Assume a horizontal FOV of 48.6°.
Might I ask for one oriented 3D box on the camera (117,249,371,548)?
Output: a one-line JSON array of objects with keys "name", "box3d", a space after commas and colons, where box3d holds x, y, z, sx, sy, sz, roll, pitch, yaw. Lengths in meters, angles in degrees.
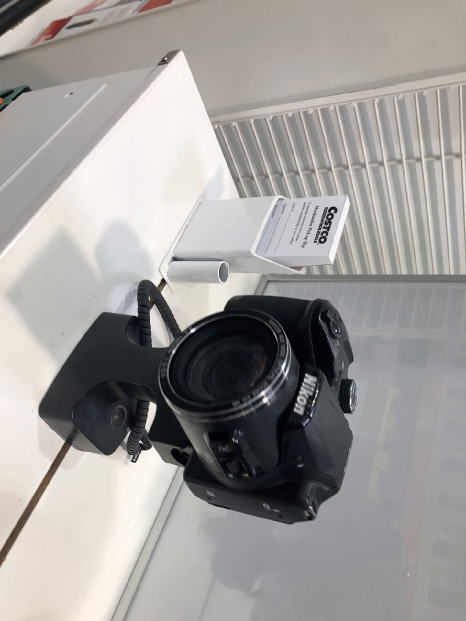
[{"name": "camera", "box3d": [0.018, 0.044, 0.281, 0.101, 0.079, 0.116, 63, 39, -44]}]
